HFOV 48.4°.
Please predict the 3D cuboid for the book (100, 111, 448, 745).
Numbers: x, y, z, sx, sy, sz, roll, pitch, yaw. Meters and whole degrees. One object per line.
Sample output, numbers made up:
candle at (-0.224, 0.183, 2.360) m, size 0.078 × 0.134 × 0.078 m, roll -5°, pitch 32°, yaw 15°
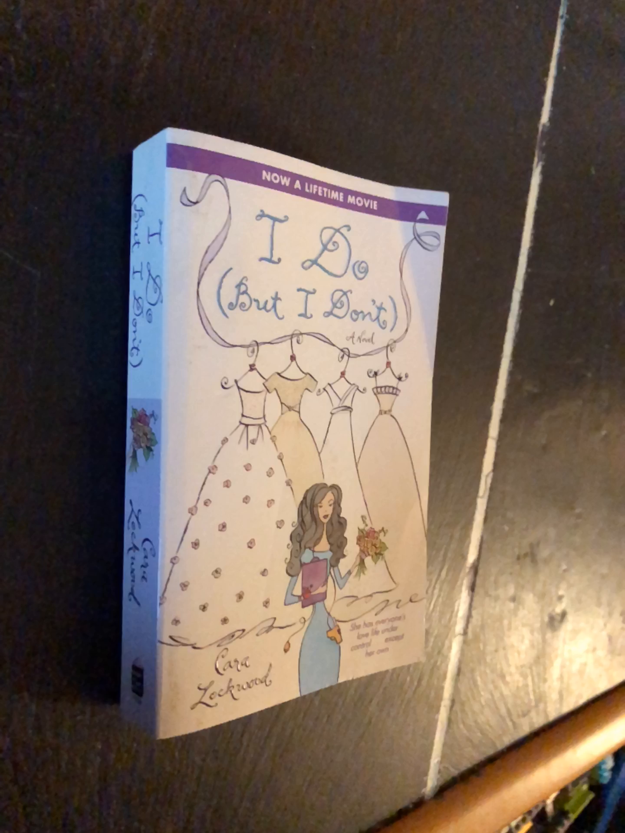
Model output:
book at (-0.008, 0.004, 0.227) m, size 0.111 × 0.032 × 0.164 m, roll 1°, pitch 92°, yaw -39°
